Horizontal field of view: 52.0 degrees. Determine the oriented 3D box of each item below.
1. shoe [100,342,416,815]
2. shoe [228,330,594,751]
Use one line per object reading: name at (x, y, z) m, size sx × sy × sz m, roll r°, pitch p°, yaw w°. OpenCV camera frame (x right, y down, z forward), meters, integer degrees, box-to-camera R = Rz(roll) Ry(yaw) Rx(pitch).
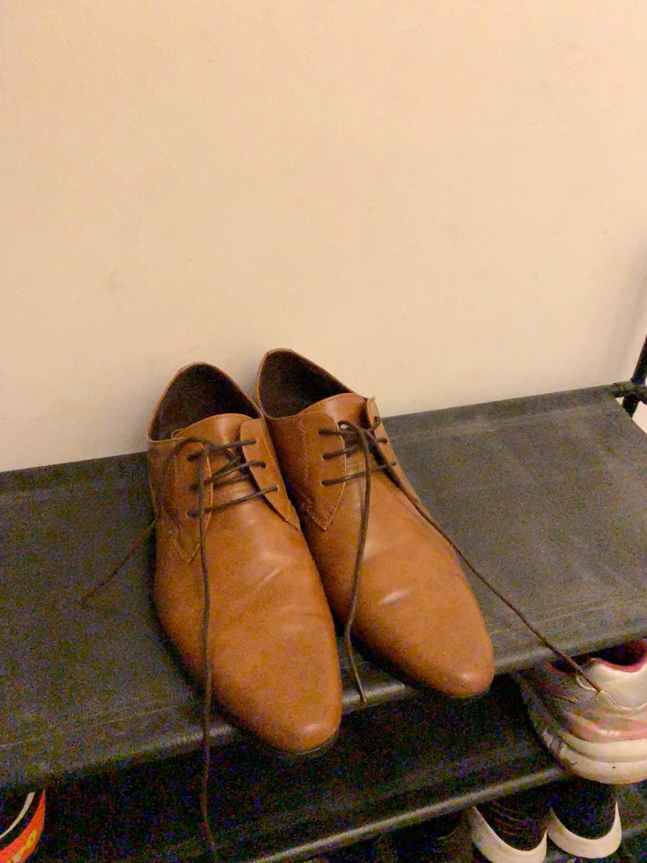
shoe at (-0.060, 0.055, 0.403) m, size 0.110 × 0.099 × 0.272 m, roll -10°, pitch 35°, yaw -18°
shoe at (0.030, 0.042, 0.453) m, size 0.100 × 0.099 × 0.292 m, roll -13°, pitch 36°, yaw -21°
